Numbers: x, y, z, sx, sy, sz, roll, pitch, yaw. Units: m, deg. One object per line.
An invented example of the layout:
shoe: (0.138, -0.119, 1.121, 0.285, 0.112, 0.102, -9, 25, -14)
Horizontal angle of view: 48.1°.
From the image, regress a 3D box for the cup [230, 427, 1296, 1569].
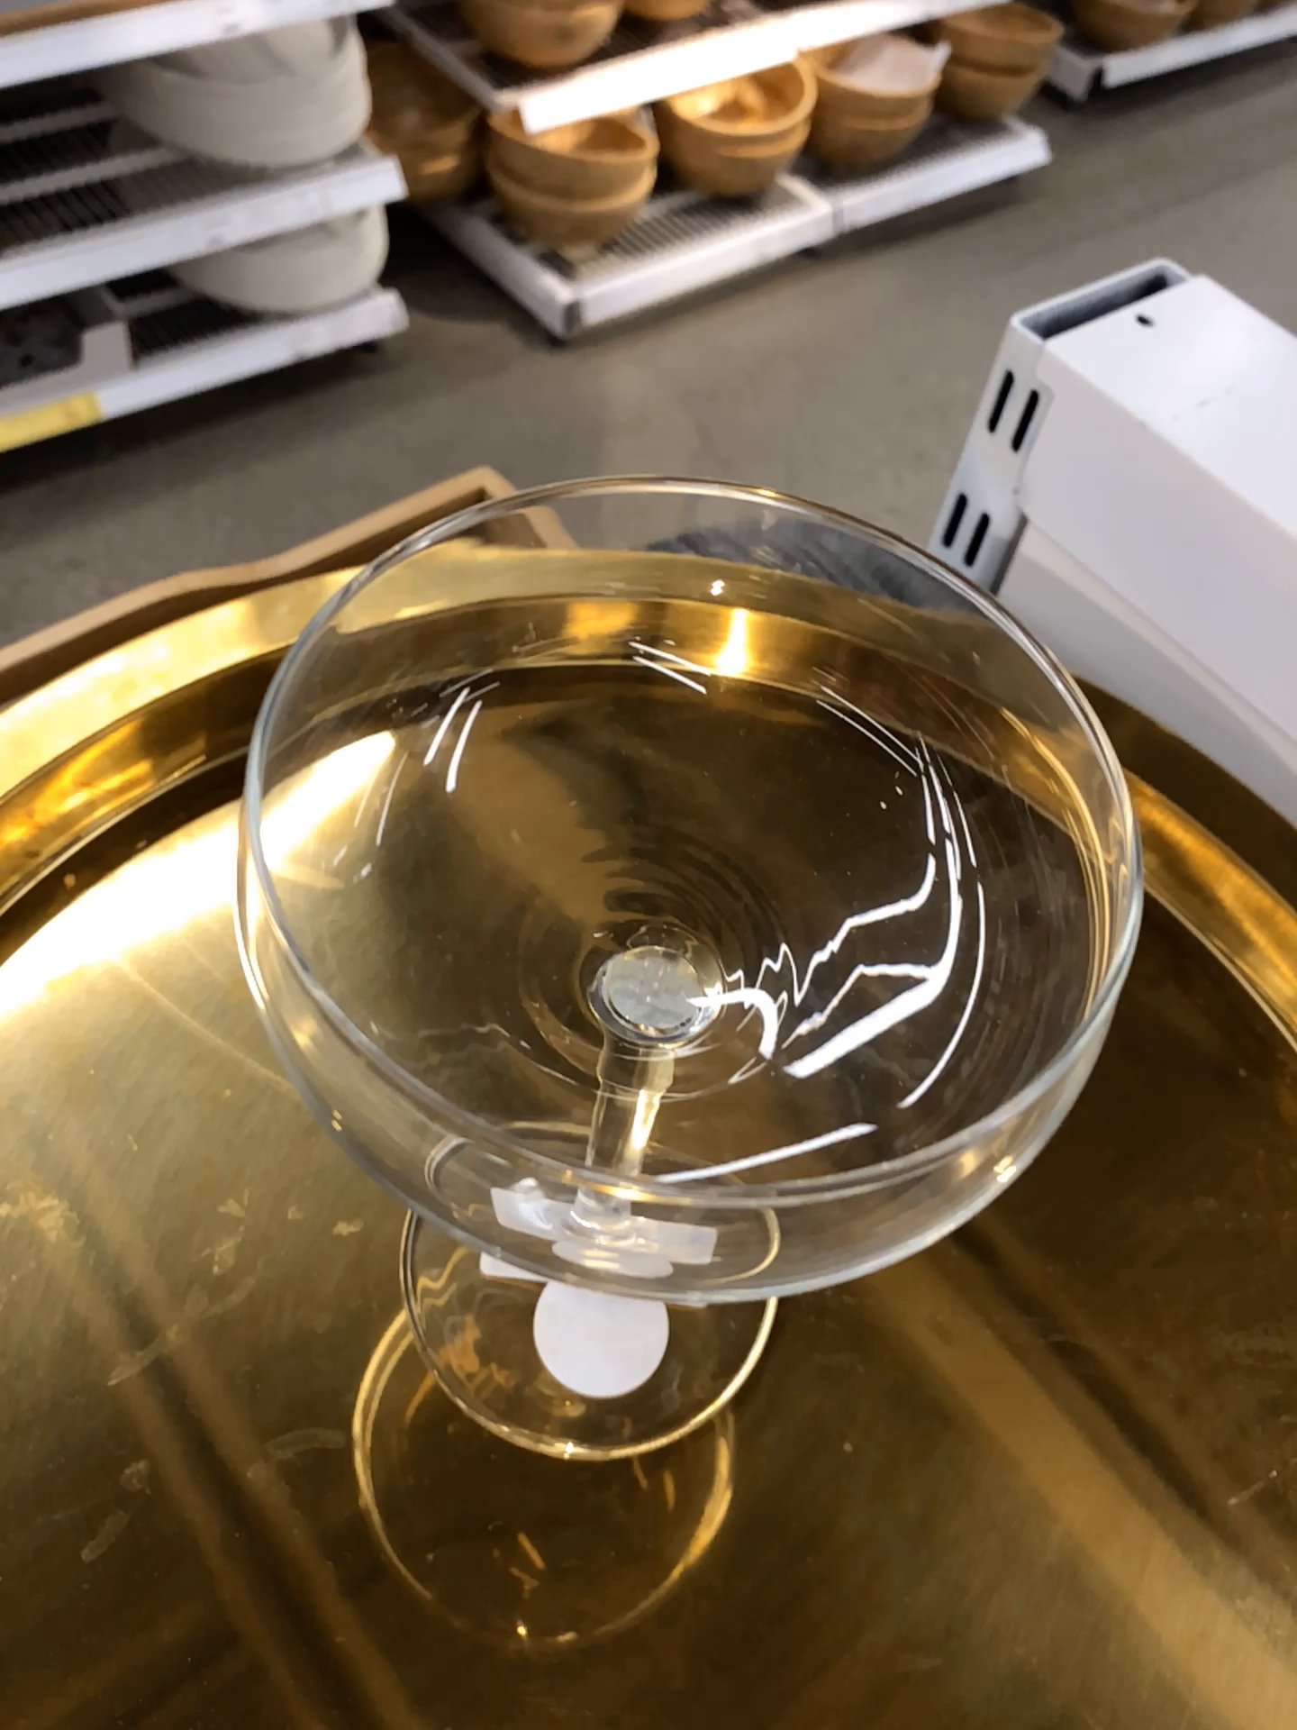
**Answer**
cup: (0.006, 0.030, 0.221, 0.110, 0.140, 0.110, 4, 53, -6)
